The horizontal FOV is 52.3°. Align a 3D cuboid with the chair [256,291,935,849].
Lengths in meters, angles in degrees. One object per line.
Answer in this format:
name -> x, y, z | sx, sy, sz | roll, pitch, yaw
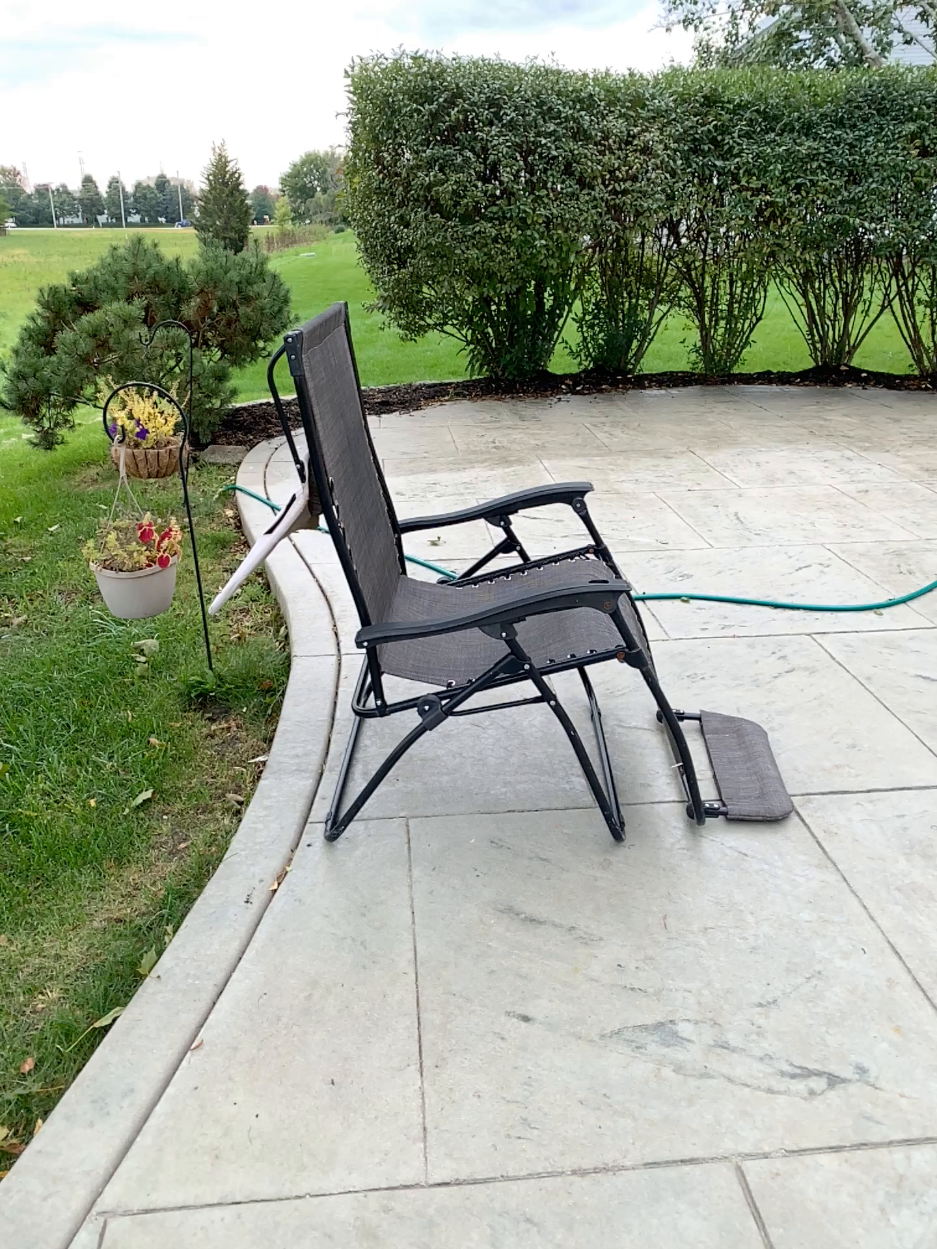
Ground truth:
chair -> 0.216, -0.165, 2.147 | 1.144, 1.057, 0.747 | 0, 22, 0
